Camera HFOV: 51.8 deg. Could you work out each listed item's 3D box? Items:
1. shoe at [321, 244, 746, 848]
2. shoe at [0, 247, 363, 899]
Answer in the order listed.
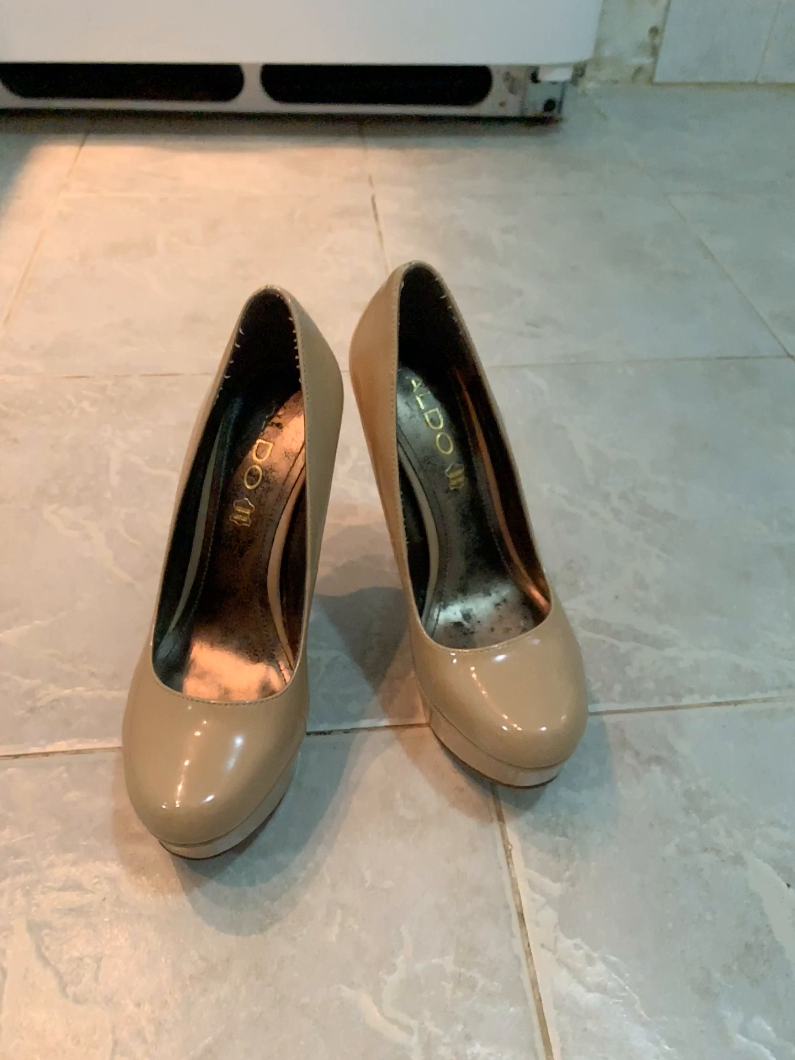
[{"bbox_3d":[0.034,-0.001,0.377,0.087,0.166,0.211,-11,46,-14],"label":"shoe"},{"bbox_3d":[-0.069,0.013,0.353,0.087,0.176,0.211,4,45,1],"label":"shoe"}]
